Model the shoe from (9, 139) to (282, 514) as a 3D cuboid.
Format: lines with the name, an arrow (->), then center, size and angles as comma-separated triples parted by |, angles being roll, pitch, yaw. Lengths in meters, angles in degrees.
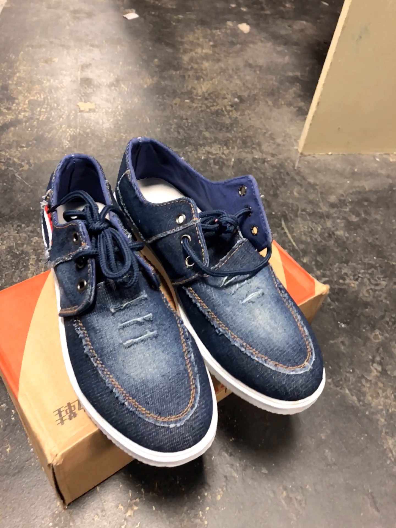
shoe -> -0.056, 0.020, 0.315 | 0.090, 0.079, 0.251 | -16, 53, -22

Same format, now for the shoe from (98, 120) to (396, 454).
shoe -> 0.019, -0.005, 0.362 | 0.100, 0.079, 0.271 | -20, 55, -25
